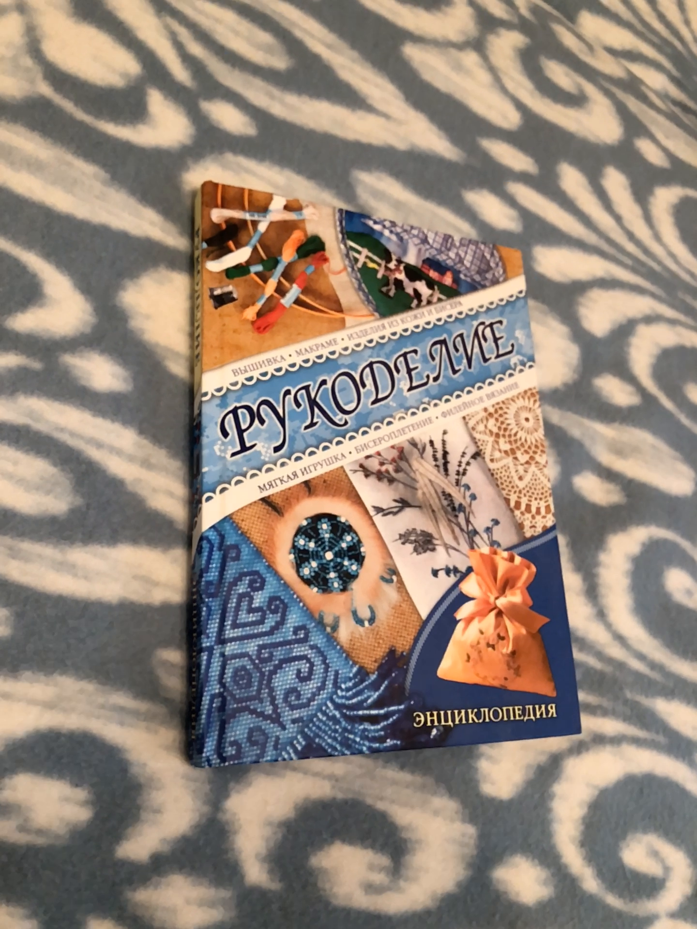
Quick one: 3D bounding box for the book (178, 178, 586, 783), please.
[{"bbox_3d":[0.014,0.001,0.337,0.169,0.020,0.237,4,72,-24],"label":"book"}]
